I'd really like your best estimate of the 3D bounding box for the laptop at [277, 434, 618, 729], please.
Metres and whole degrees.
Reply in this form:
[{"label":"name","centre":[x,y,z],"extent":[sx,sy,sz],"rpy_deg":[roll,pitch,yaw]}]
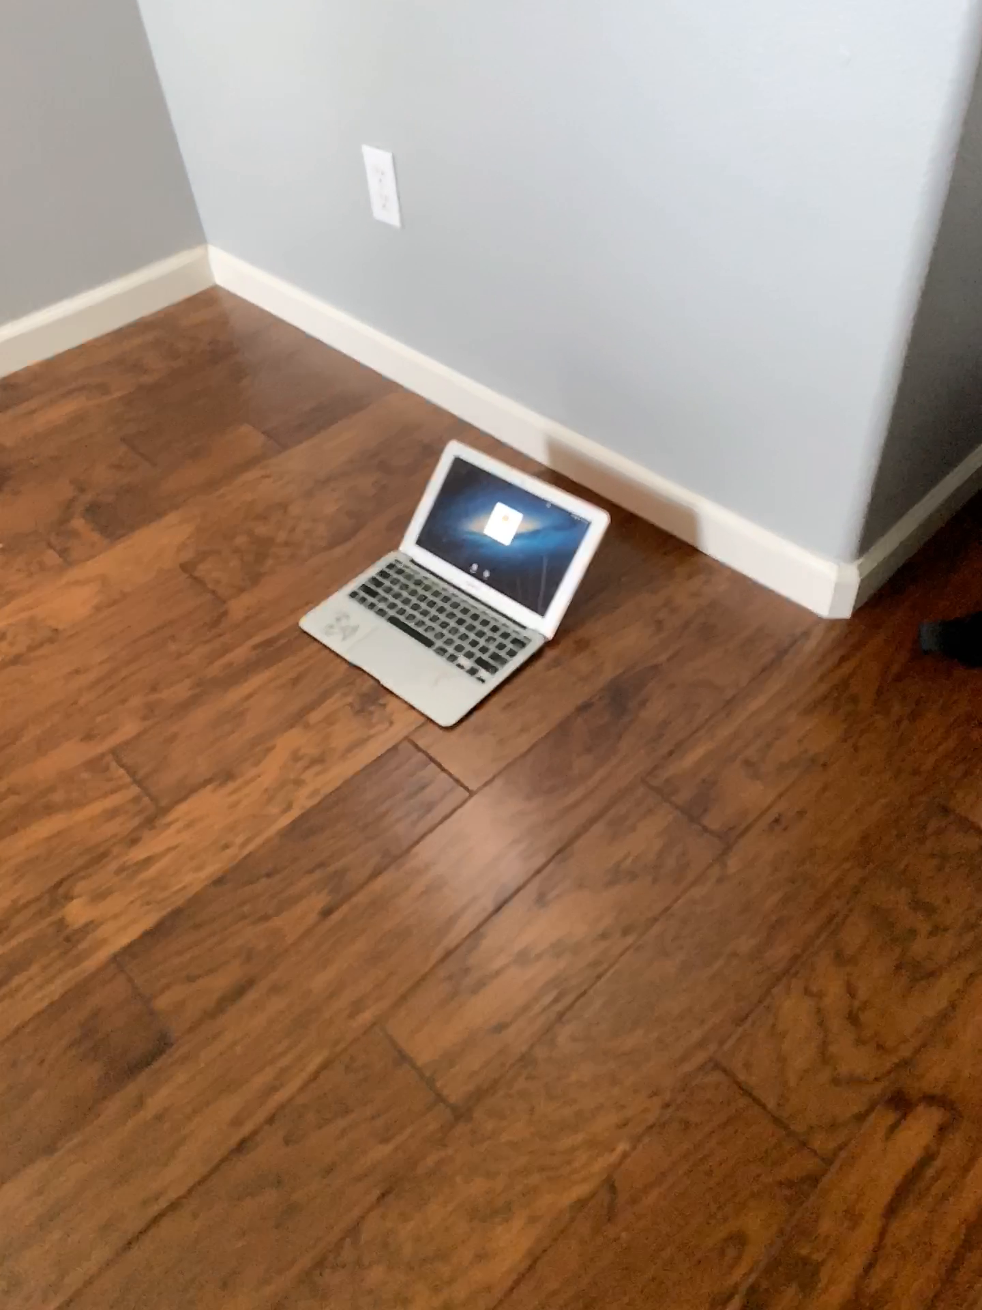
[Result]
[{"label":"laptop","centre":[-0.052,-0.112,1.292],"extent":[0.294,0.117,0.323],"rpy_deg":[32,59,33]}]
